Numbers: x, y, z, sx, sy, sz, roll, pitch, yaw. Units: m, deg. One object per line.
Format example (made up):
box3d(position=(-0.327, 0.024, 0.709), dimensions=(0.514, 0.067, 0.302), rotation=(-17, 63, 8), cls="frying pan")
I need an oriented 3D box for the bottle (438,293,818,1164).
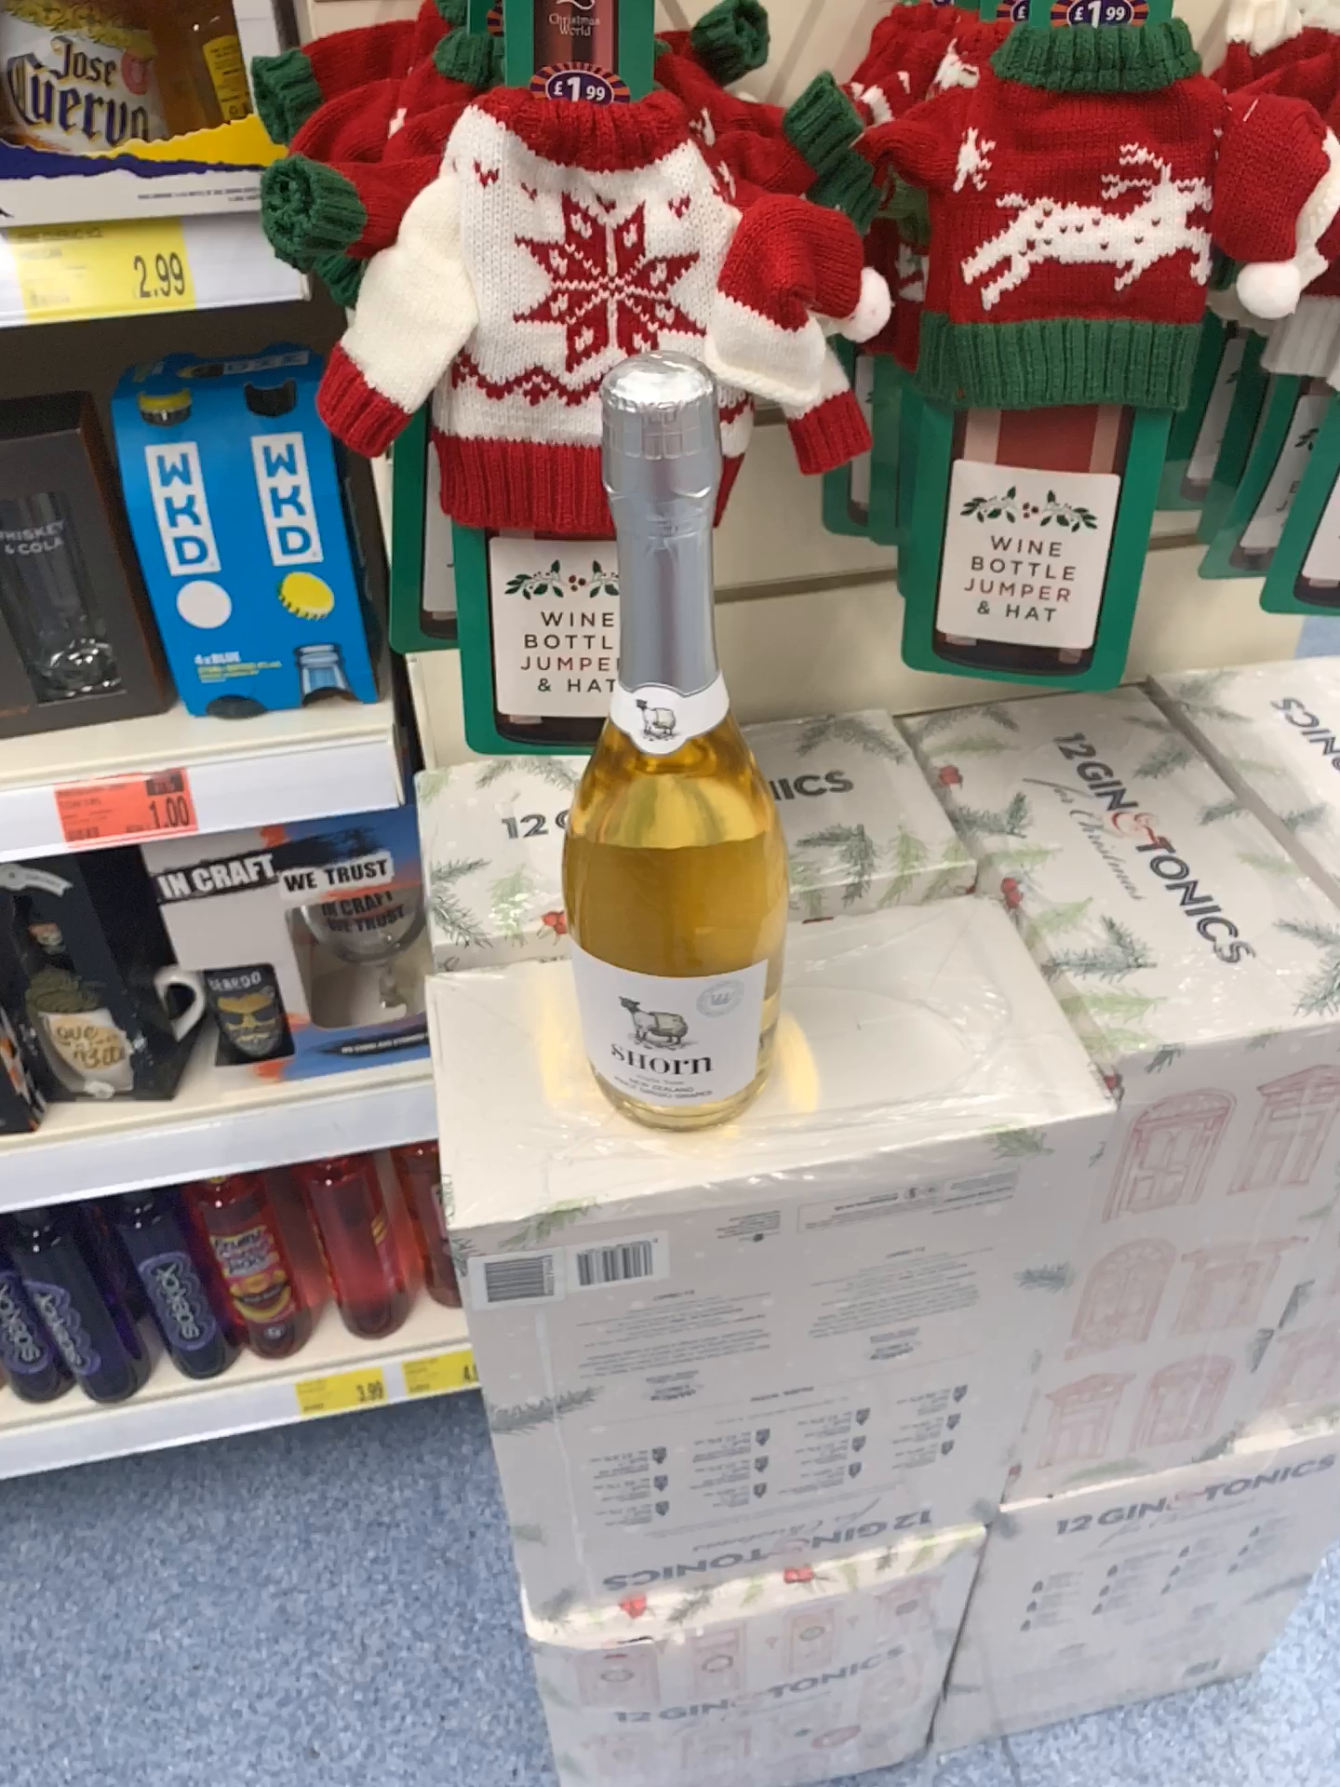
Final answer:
box3d(position=(-0.004, -0.043, 0.493), dimensions=(0.094, 0.298, 0.095), rotation=(-1, 39, 1), cls="bottle")
